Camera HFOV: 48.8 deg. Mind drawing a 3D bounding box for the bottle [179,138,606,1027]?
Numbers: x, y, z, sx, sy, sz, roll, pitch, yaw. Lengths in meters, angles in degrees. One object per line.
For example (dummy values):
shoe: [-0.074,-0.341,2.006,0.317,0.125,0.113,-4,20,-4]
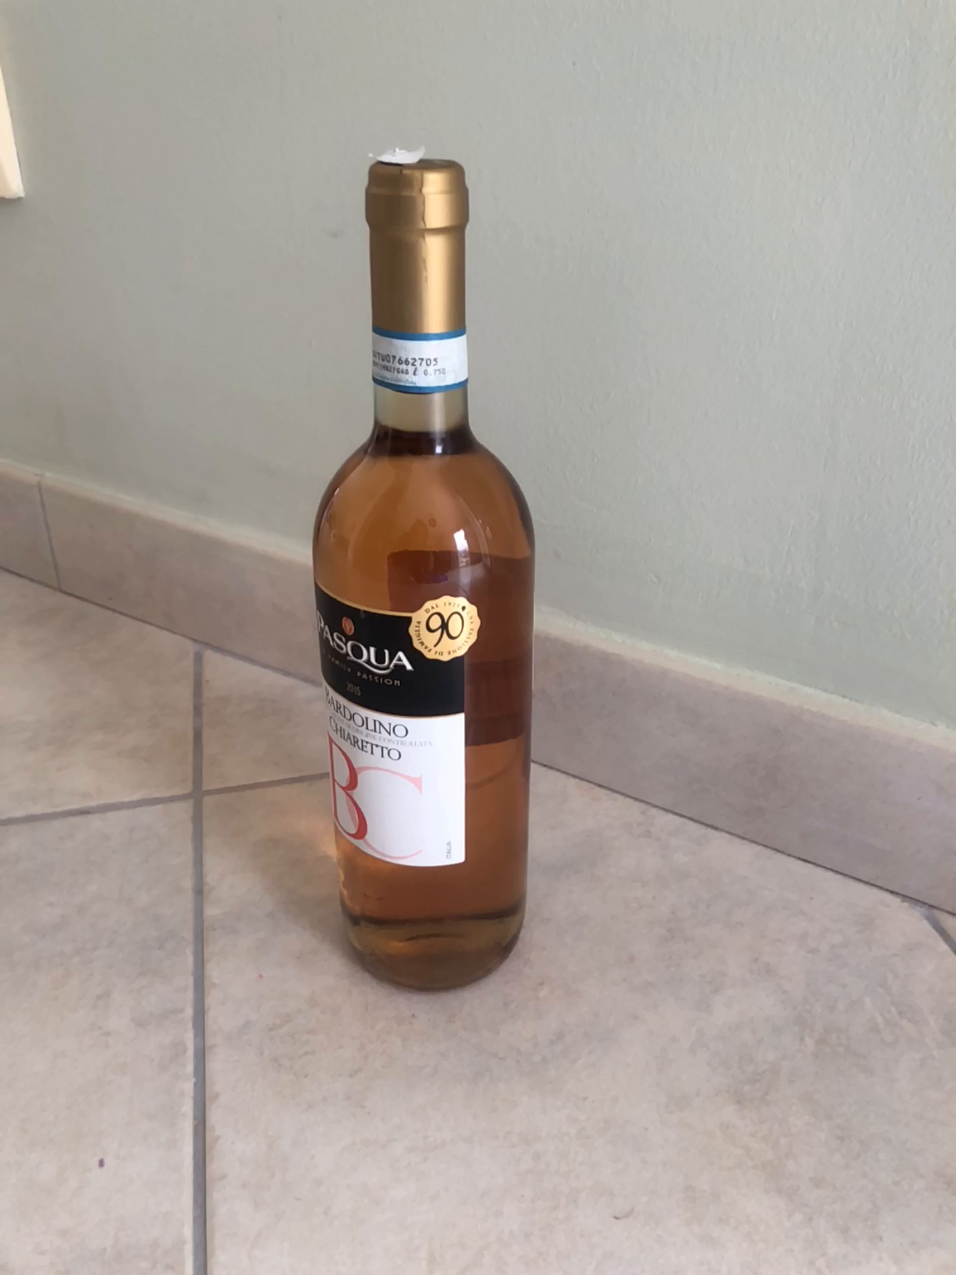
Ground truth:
bottle: [-0.021,-0.011,0.346,0.080,0.268,0.080,0,30,0]
